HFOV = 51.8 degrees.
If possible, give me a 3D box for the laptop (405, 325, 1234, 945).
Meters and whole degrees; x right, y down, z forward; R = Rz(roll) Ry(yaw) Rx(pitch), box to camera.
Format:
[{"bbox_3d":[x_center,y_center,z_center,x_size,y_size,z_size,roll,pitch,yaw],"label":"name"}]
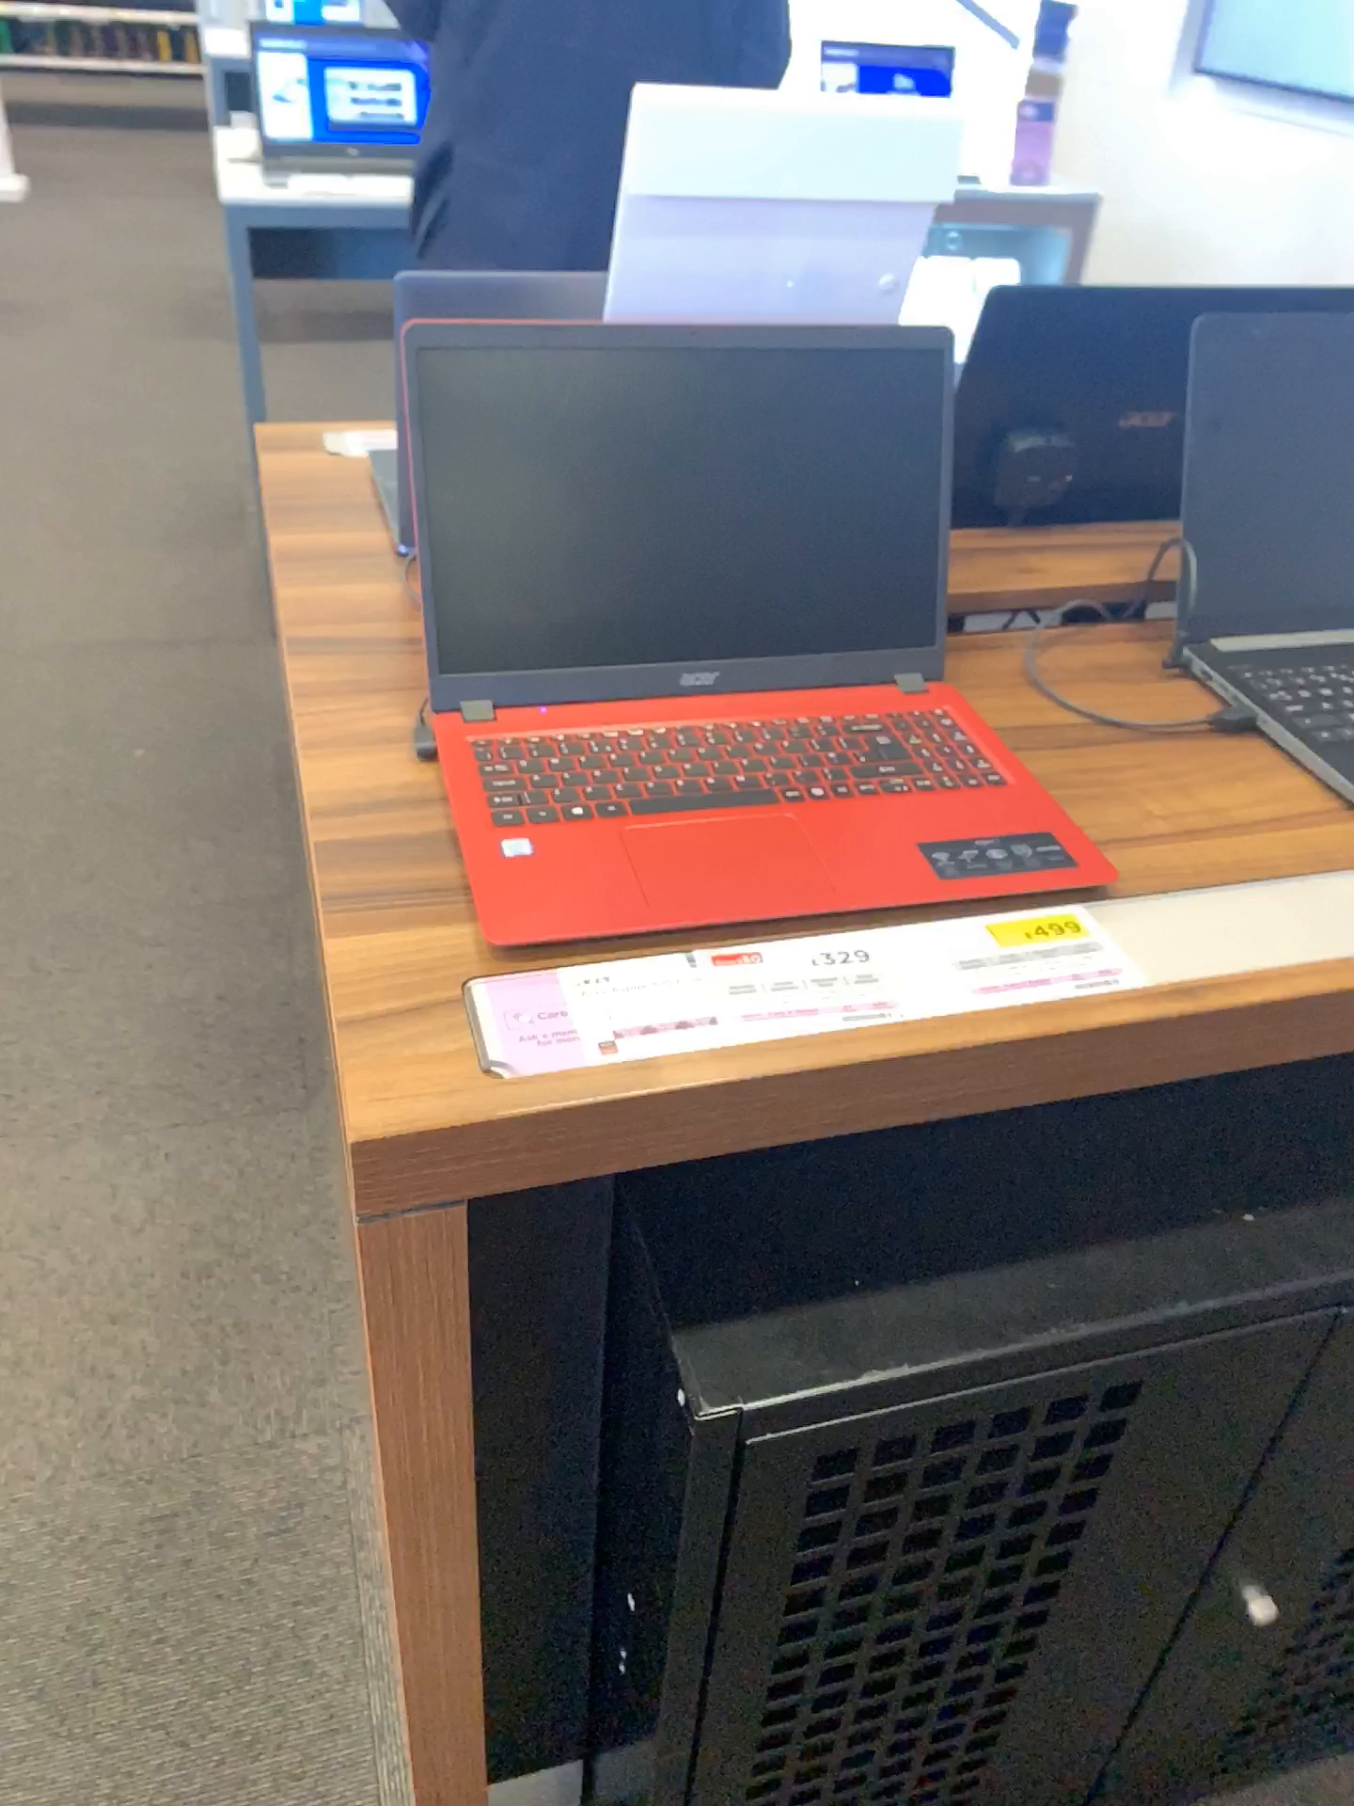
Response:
[{"bbox_3d":[0.045,-0.178,0.804,0.356,0.213,0.323,-6,37,-15],"label":"laptop"}]
